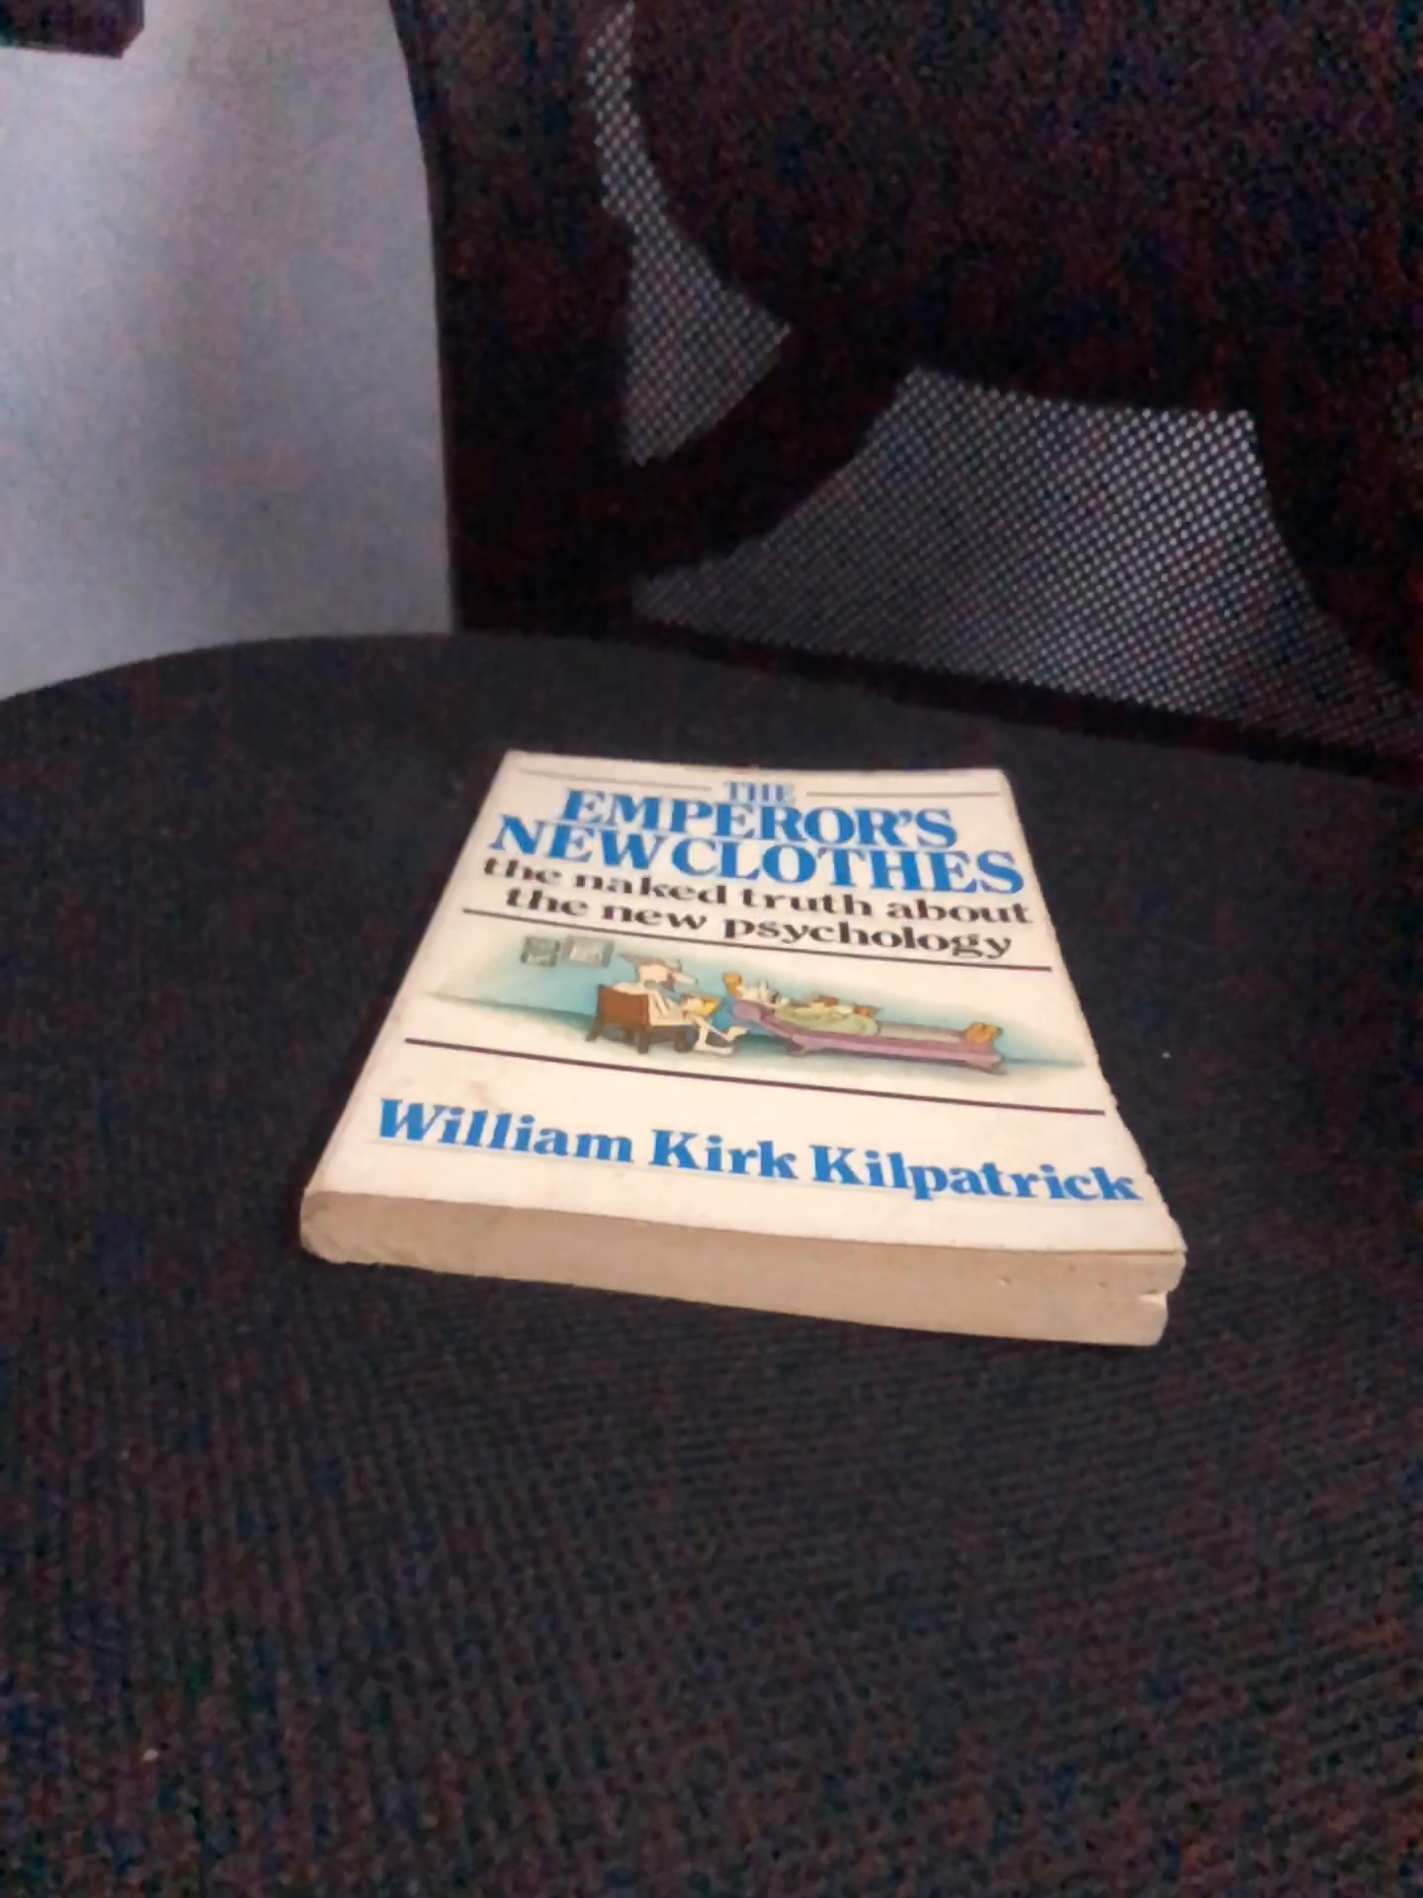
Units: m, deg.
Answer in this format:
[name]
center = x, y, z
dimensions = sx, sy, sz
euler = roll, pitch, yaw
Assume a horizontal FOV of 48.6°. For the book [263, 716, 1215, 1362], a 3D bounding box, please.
[book]
center = 0.009, -0.001, 0.347
dimensions = 0.144, 0.020, 0.231
euler = 6, 25, 0
